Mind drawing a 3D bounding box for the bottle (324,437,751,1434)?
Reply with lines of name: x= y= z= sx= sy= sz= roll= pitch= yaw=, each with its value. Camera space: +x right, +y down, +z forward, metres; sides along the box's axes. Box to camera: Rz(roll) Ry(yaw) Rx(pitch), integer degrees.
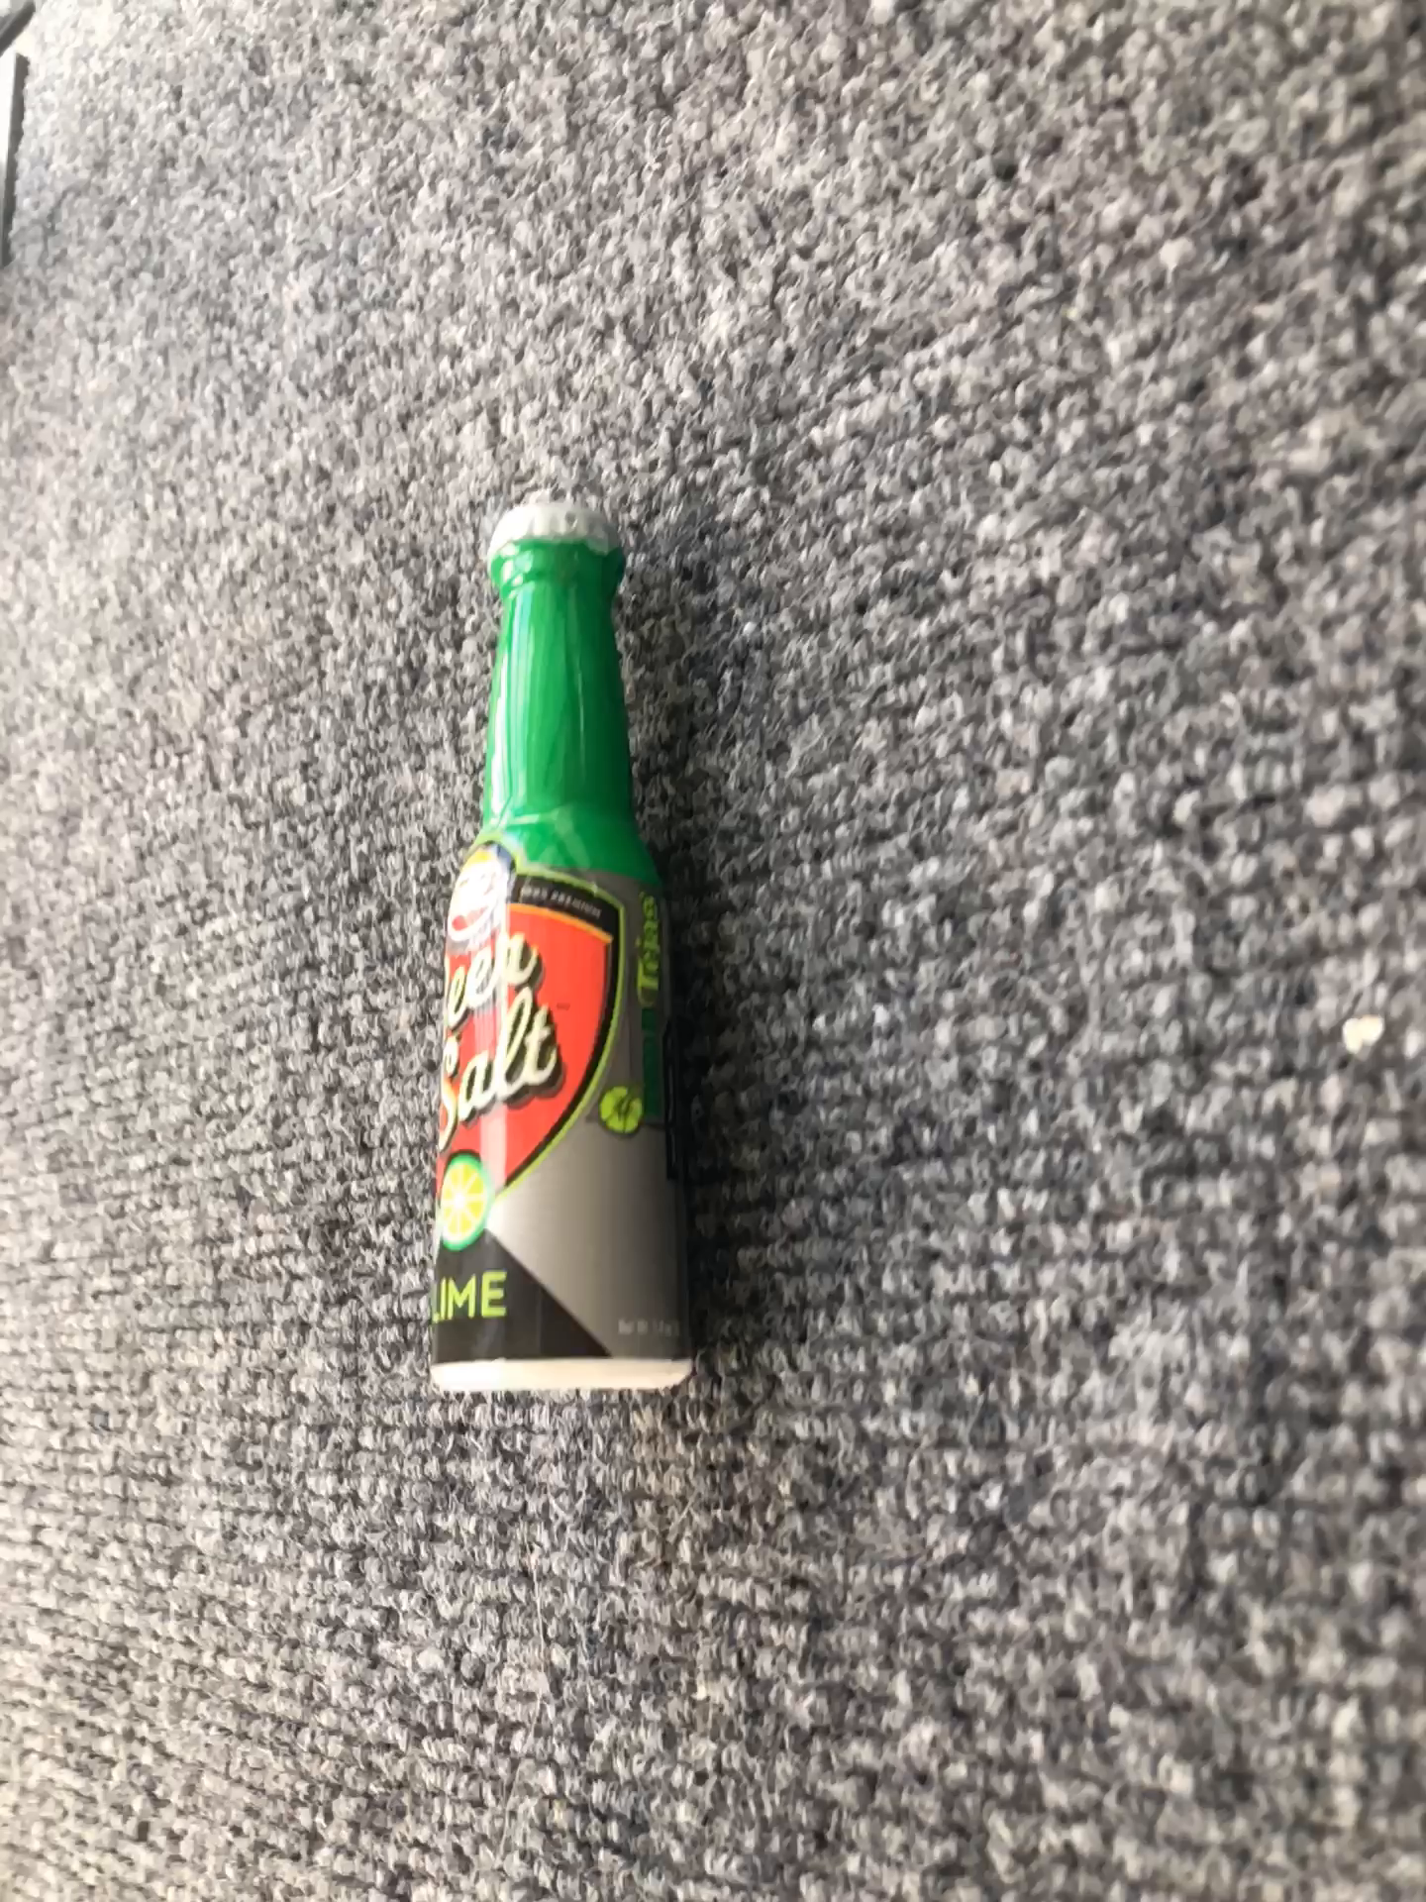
bottle: x=-0.021 y=0.000 z=0.178 sx=0.033 sy=0.030 sz=0.101 roll=-17 pitch=70 yaw=42
